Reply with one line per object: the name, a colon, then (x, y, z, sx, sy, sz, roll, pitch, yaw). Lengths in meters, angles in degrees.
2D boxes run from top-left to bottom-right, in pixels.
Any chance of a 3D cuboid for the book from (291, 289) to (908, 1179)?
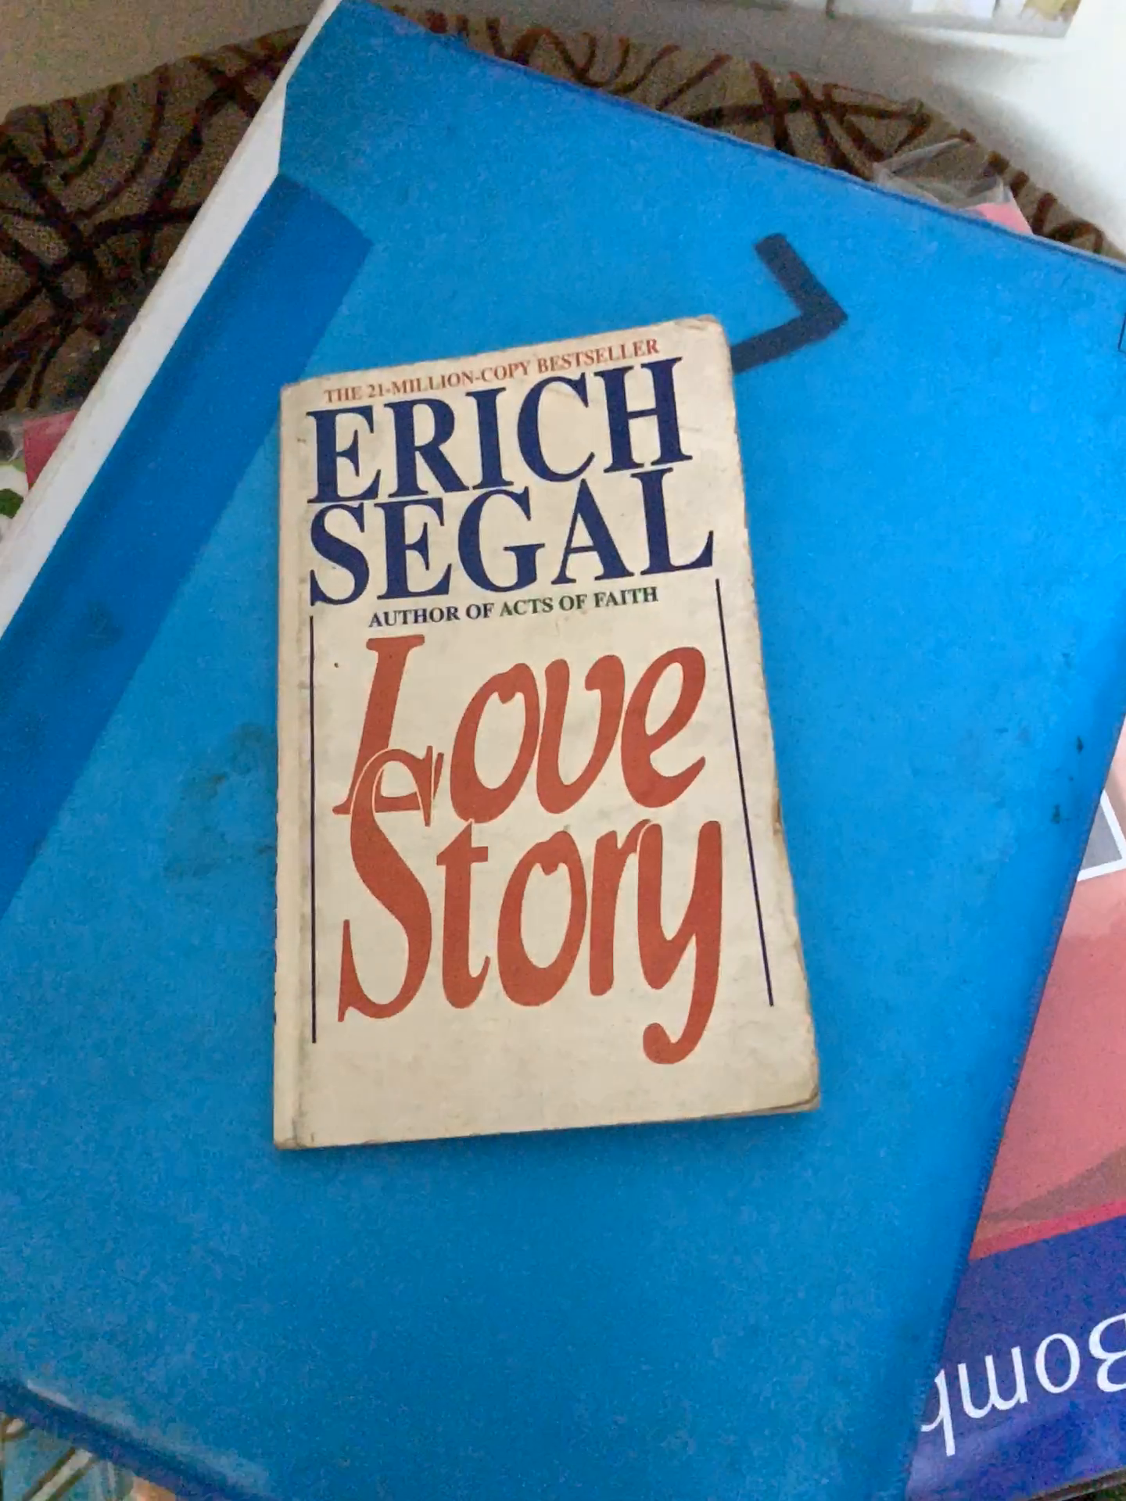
book: (0.000, -0.011, 0.244, 0.110, 0.020, 0.180, -4, 72, 0)
